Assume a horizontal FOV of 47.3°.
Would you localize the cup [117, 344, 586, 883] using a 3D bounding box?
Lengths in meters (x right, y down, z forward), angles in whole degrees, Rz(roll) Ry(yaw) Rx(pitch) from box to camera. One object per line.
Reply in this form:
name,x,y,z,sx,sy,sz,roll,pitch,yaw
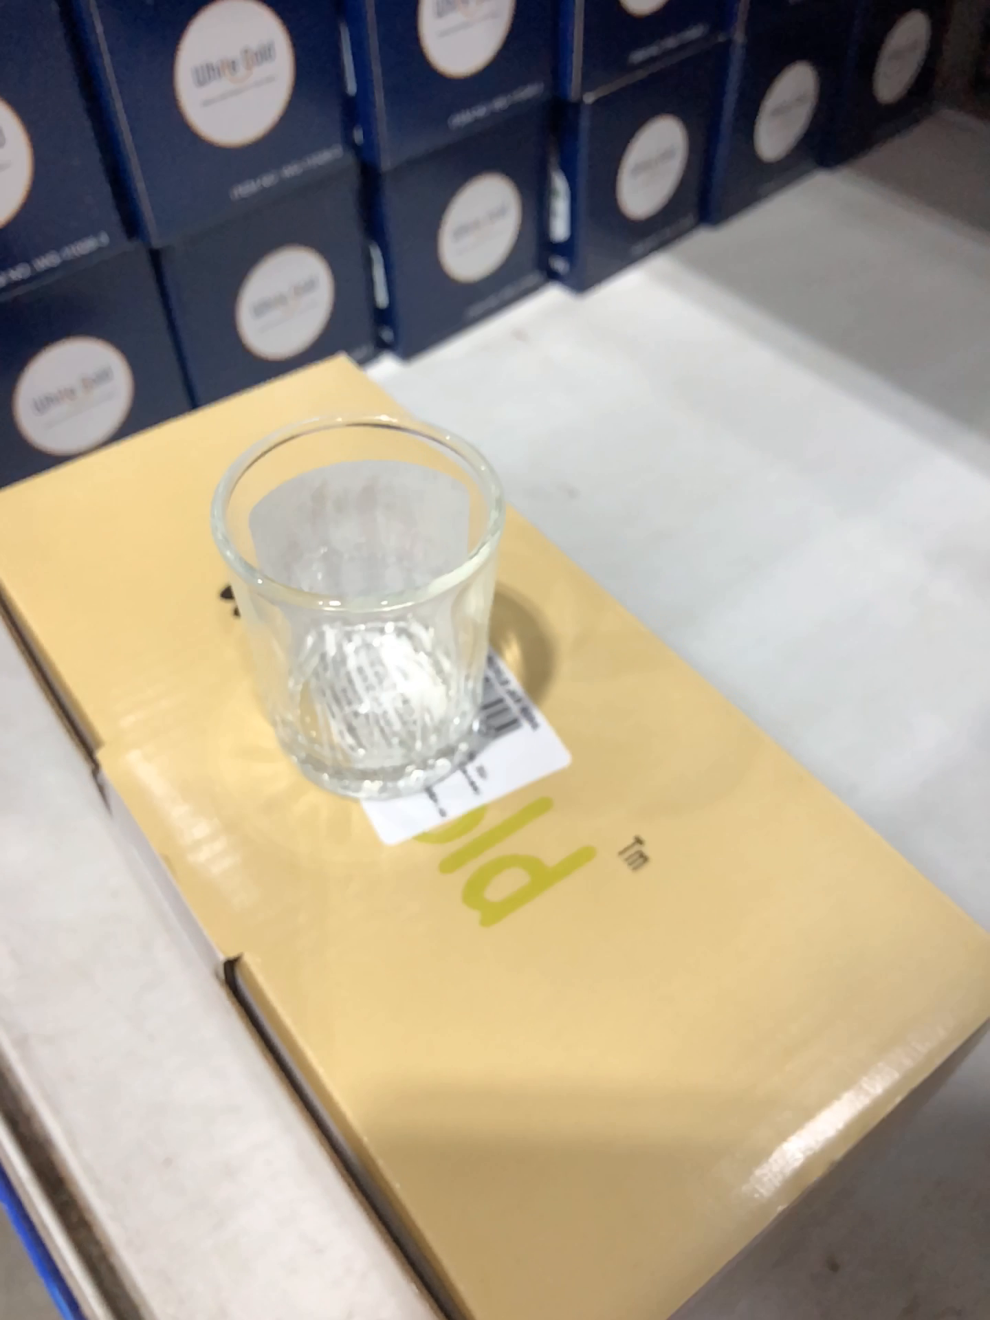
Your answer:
cup,-0.021,-0.008,0.194,0.050,0.060,0.050,-1,50,1
